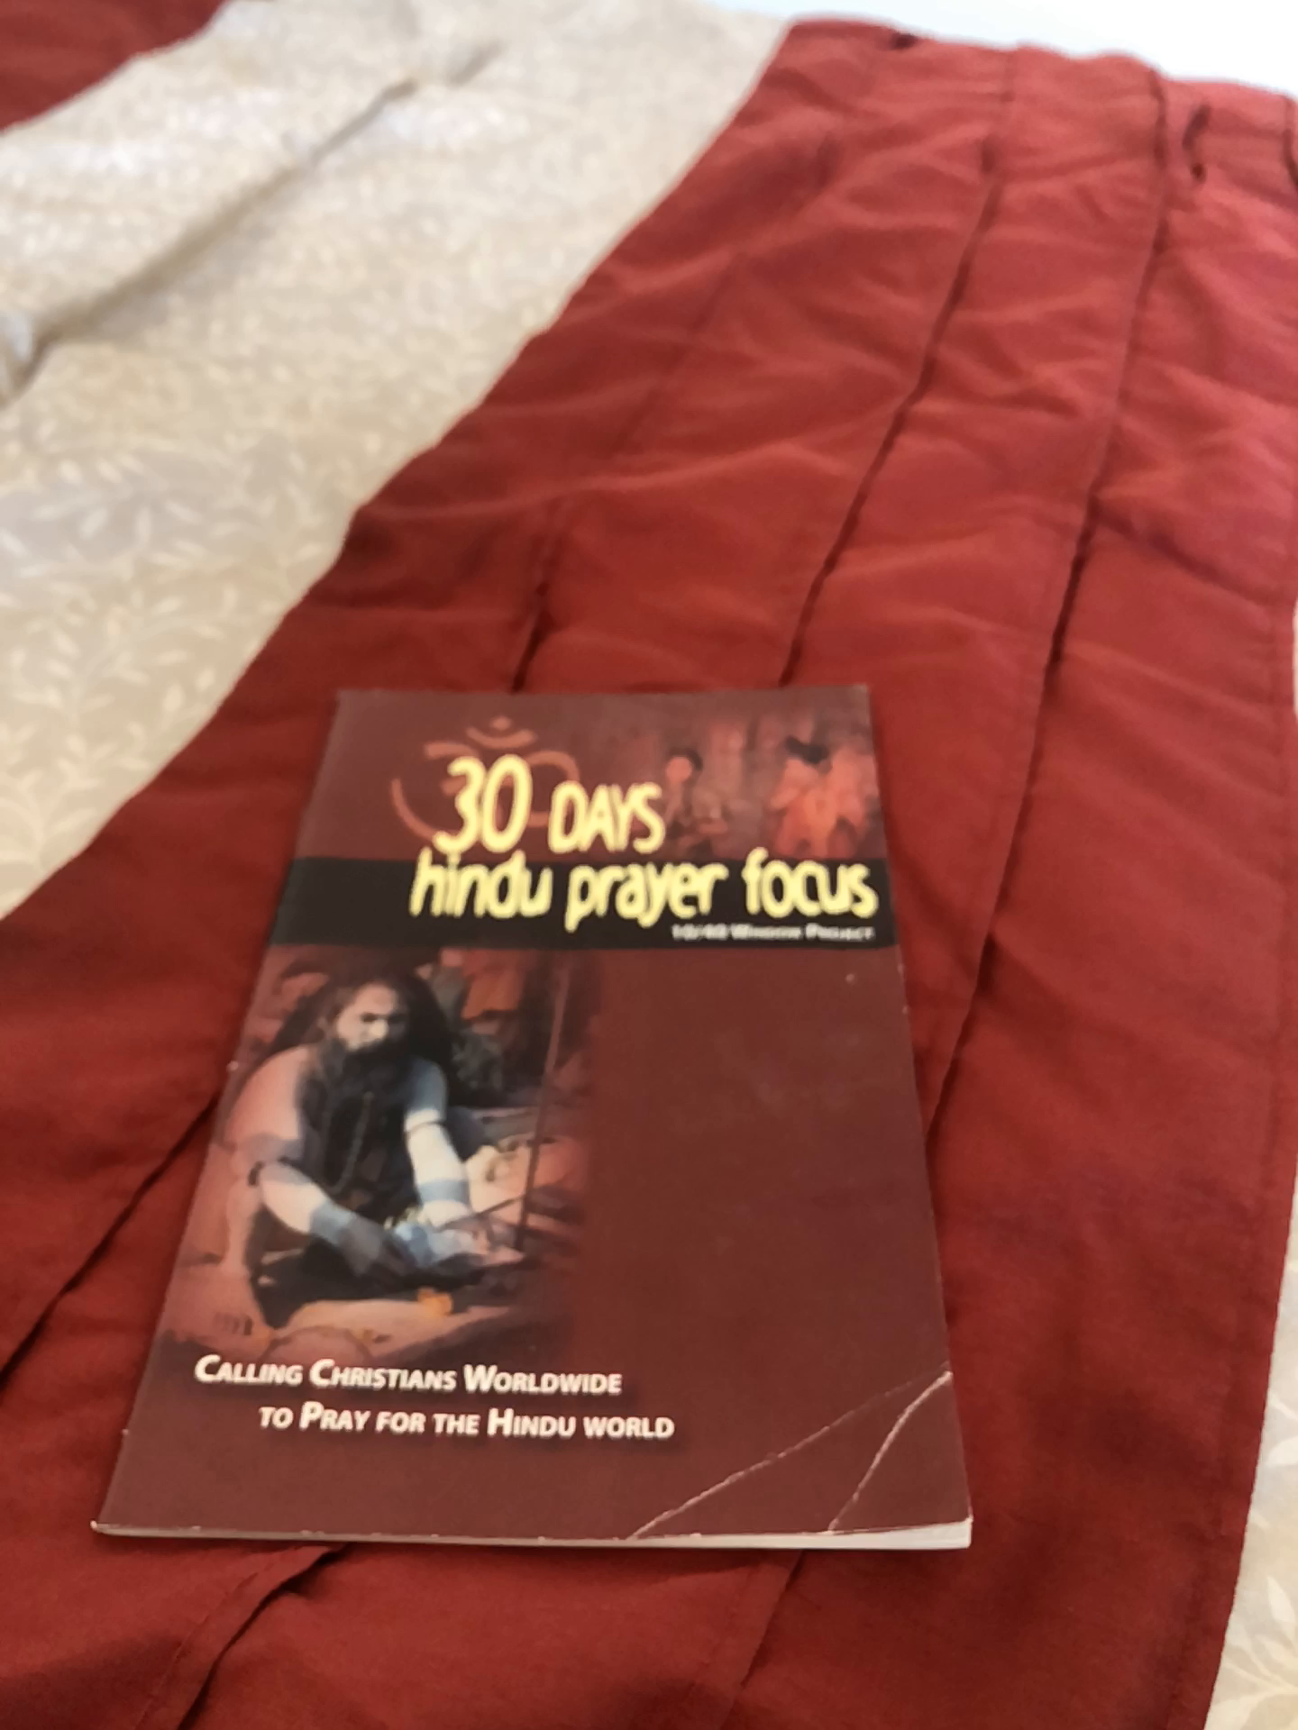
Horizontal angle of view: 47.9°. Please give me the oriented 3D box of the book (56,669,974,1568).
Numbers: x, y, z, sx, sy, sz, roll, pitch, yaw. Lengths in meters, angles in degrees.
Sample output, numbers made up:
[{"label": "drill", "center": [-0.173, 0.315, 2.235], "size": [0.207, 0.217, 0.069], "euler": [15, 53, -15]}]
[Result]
[{"label": "book", "center": [-0.018, 0.030, 0.302], "size": [0.141, 0.010, 0.211], "euler": [1, 46, 1]}]
